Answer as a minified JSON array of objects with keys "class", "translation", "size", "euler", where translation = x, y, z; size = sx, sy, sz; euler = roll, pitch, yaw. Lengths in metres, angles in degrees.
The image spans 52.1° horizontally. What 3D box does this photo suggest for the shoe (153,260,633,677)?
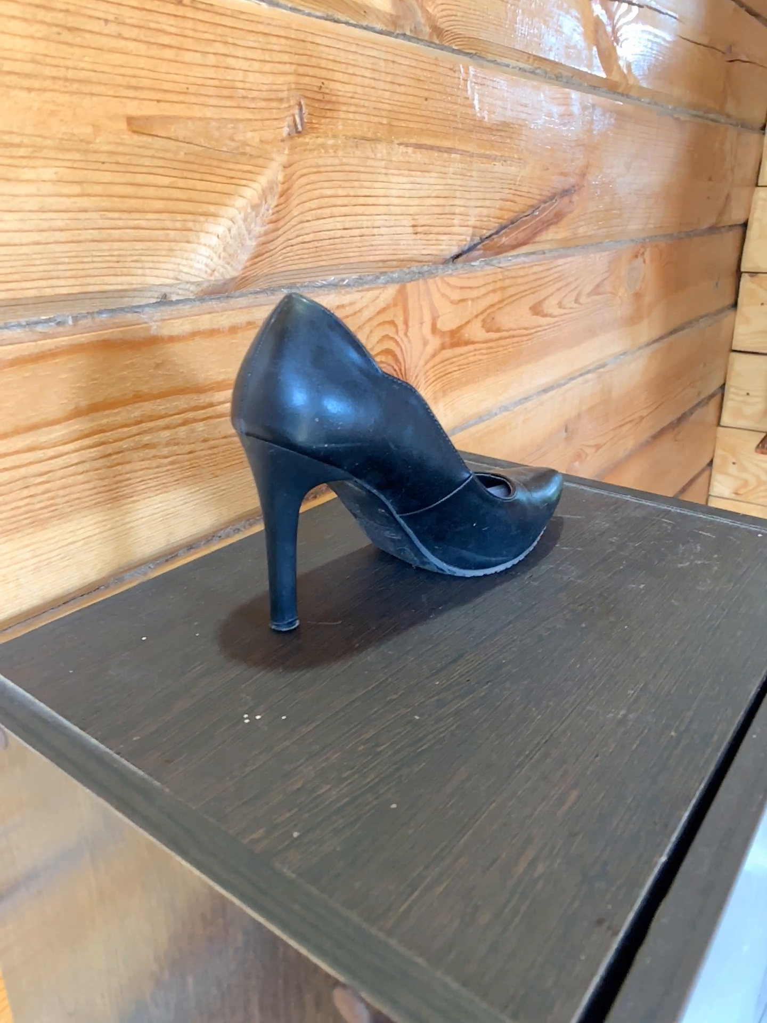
[{"class":"shoe","translation":[0.015,-0.042,0.401],"size":[0.221,0.149,0.100],"euler":[-18,27,-39]}]
